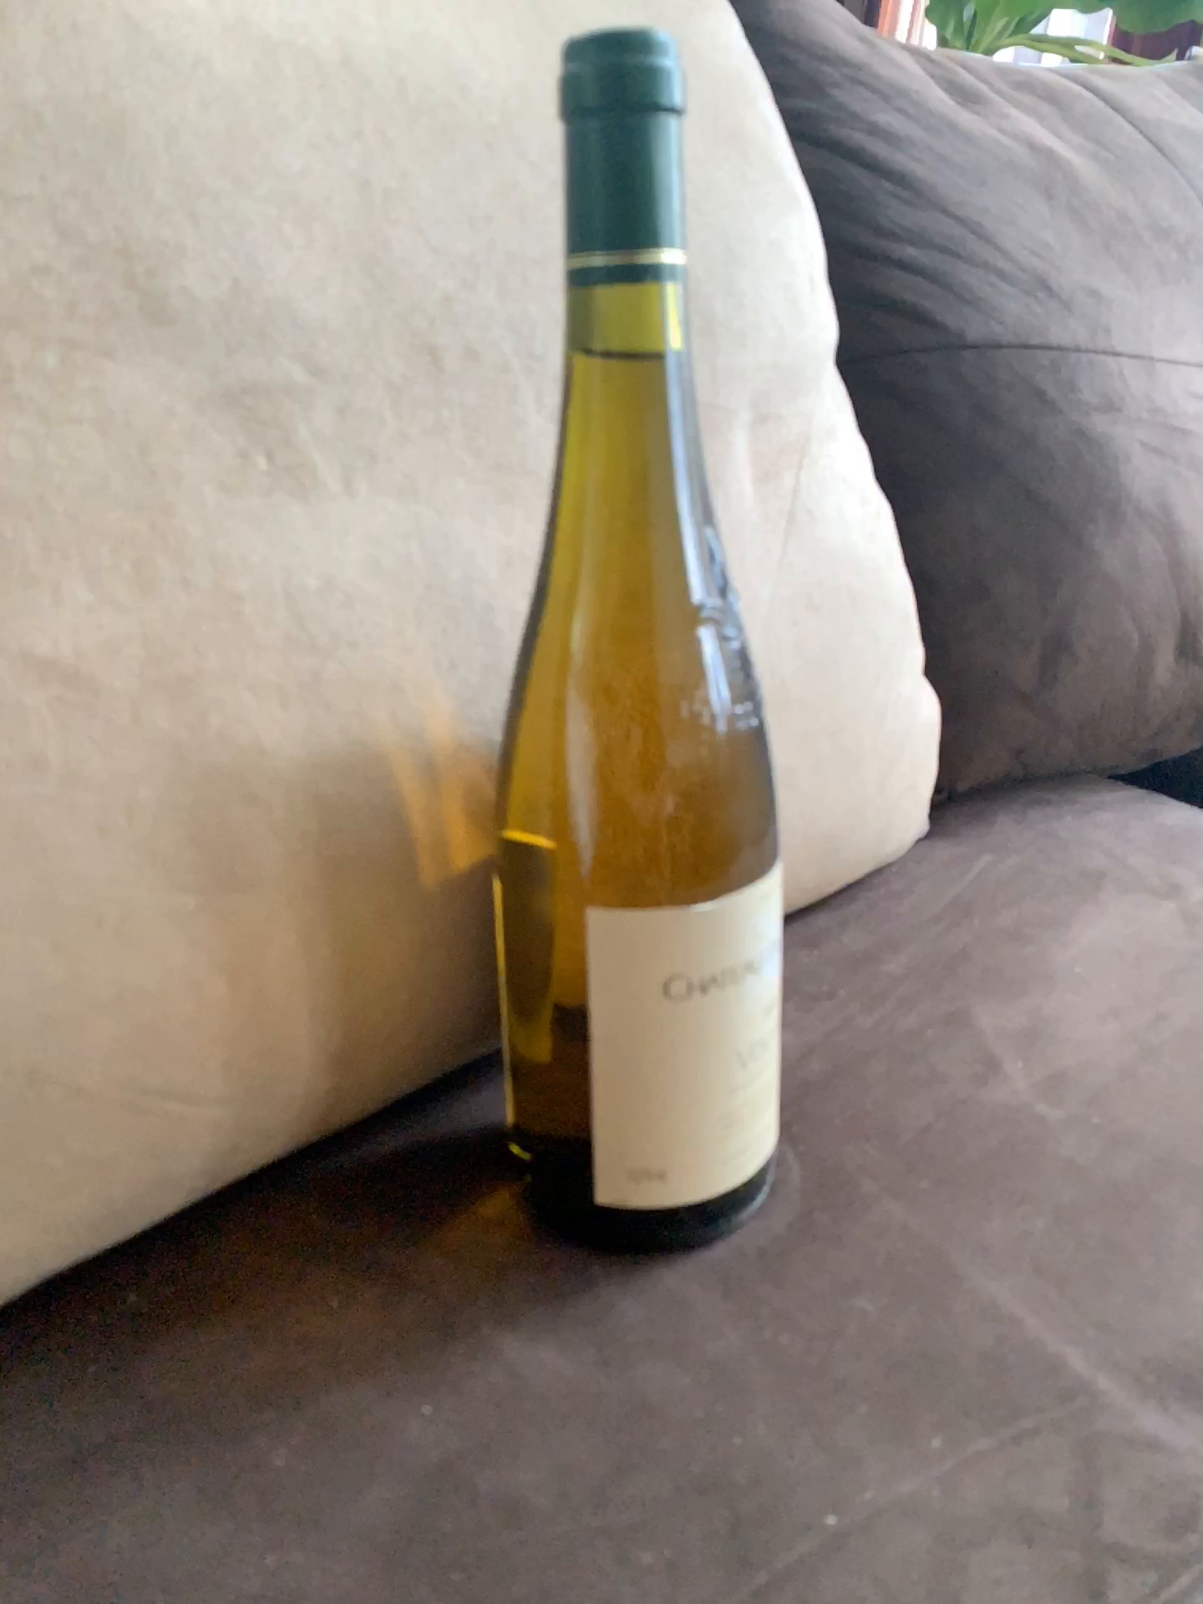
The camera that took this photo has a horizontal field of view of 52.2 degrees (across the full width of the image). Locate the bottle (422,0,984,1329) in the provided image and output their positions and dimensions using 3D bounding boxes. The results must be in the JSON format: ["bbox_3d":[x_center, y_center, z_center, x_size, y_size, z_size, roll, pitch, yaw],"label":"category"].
[{"bbox_3d":[0.020,-0.030,0.322,0.090,0.308,0.100,13,25,22],"label":"bottle"}]
